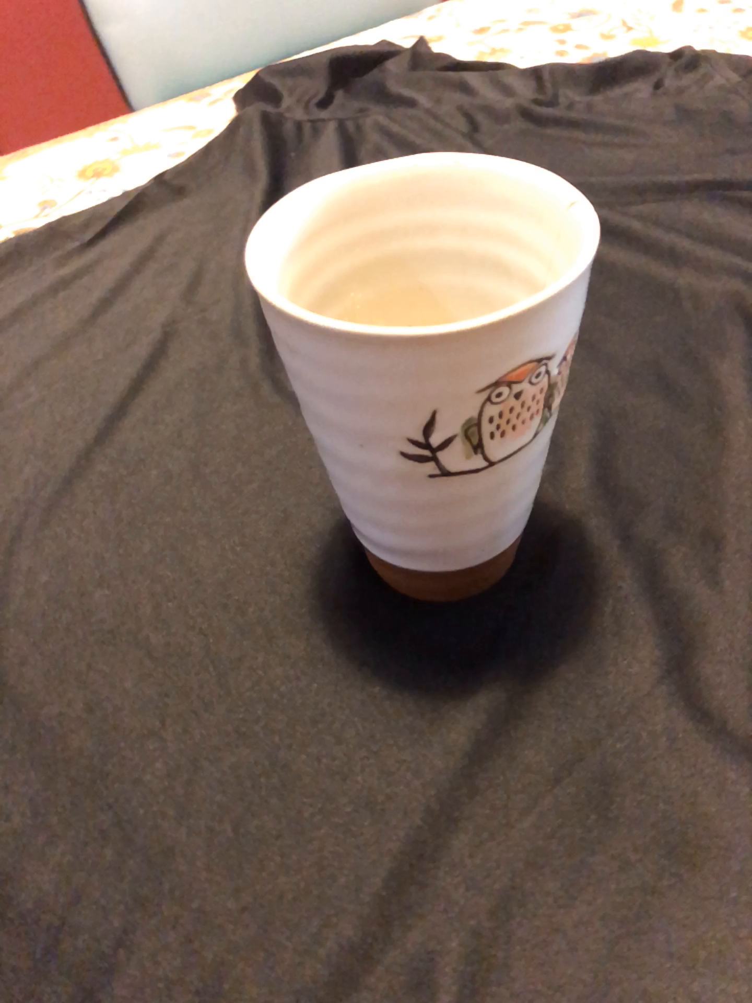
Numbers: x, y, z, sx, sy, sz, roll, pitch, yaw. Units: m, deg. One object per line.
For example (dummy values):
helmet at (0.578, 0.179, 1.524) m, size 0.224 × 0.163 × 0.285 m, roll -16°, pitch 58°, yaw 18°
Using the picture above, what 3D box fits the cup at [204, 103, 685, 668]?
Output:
cup at (0.014, -0.032, 0.226) m, size 0.080 × 0.099 × 0.091 m, roll -19°, pitch 46°, yaw -10°
